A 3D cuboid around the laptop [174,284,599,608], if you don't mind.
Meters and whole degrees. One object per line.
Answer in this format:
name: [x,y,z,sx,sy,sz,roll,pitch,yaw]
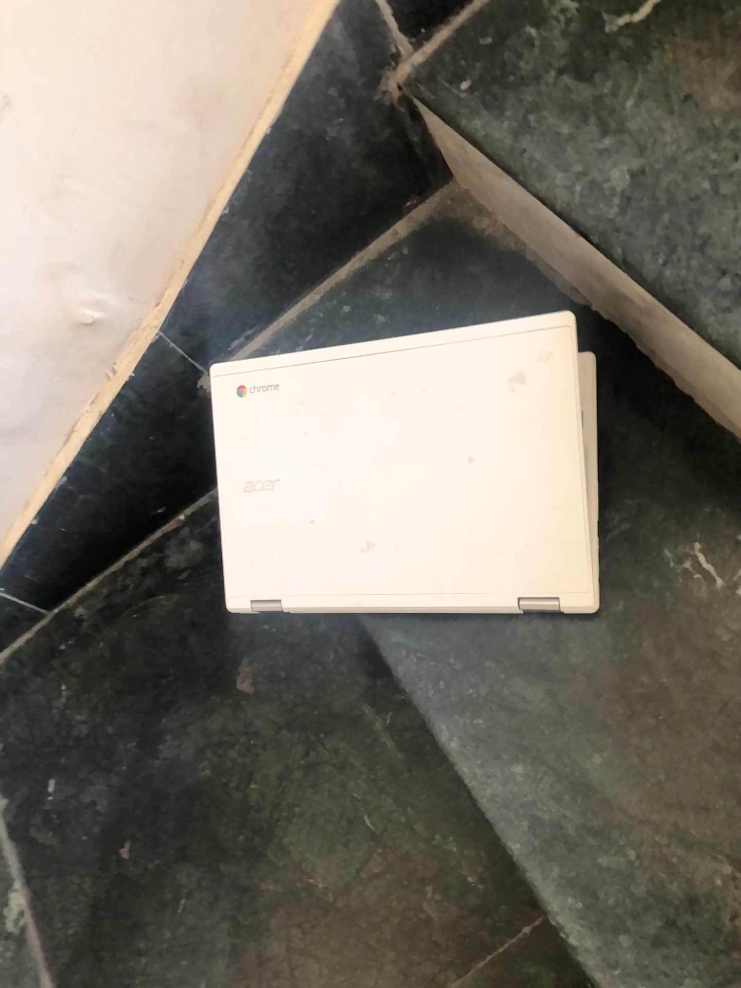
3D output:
laptop: [0.011,-0.023,0.597,0.283,0.091,0.190,-4,70,22]
